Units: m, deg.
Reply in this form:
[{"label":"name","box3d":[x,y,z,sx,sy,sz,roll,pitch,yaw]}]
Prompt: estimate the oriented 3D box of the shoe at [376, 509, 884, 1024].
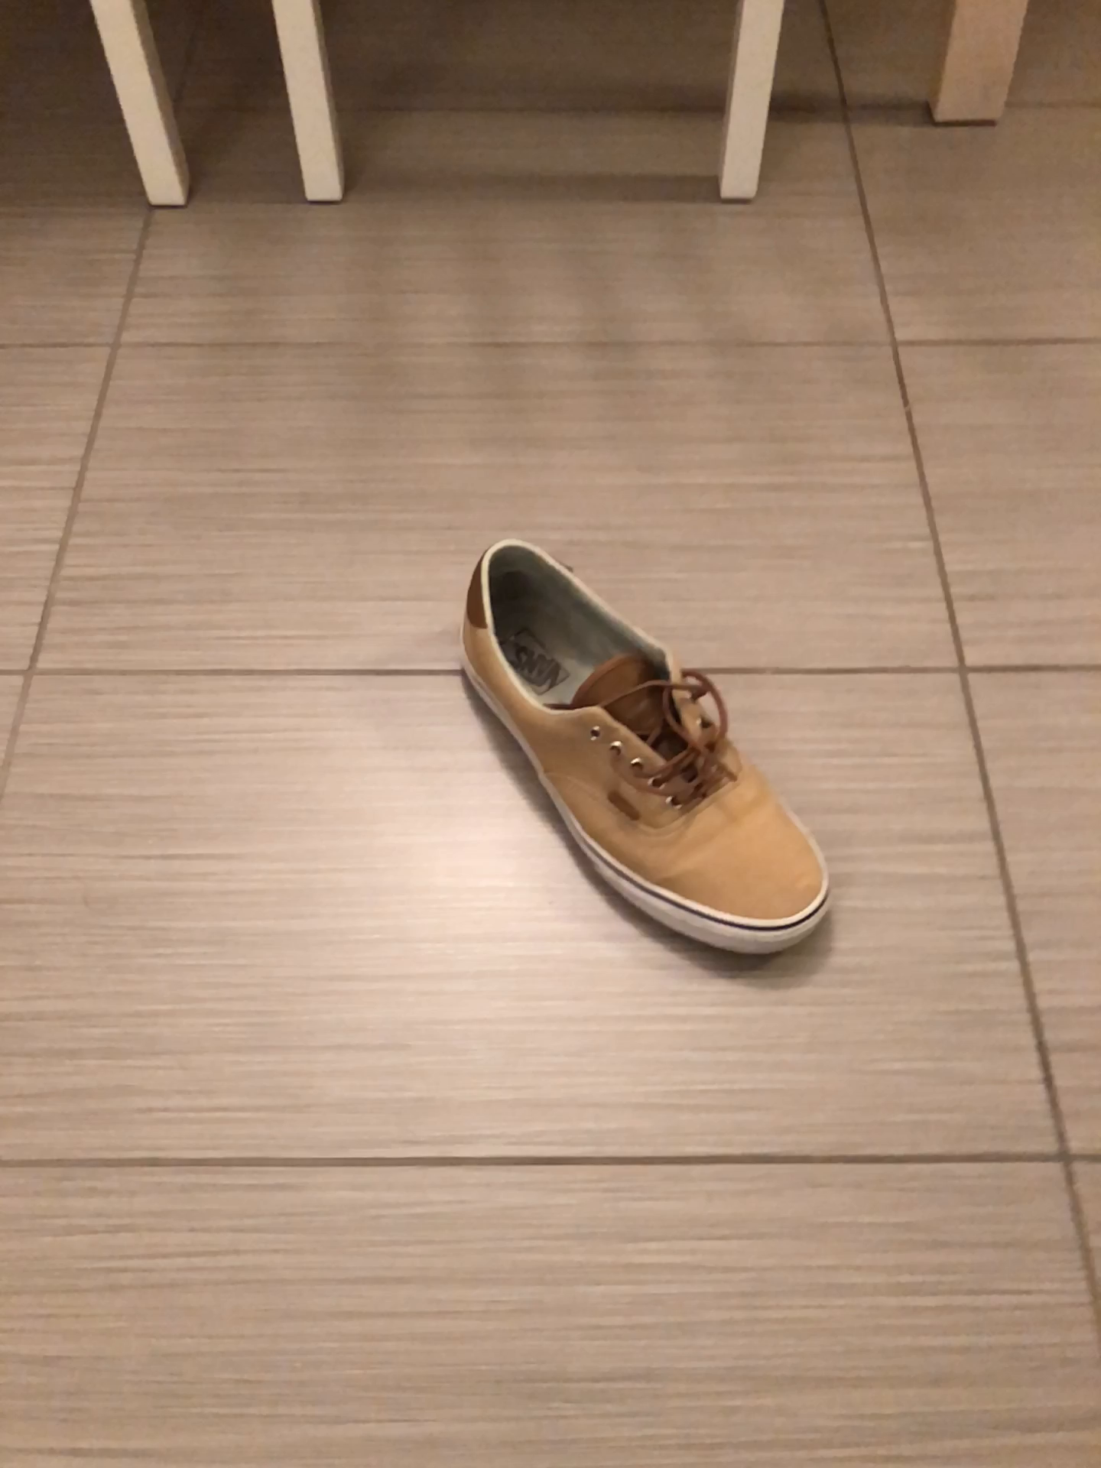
[{"label":"shoe","box3d":[0.036,0.008,0.714,0.110,0.070,0.311,-35,64,-18]}]
